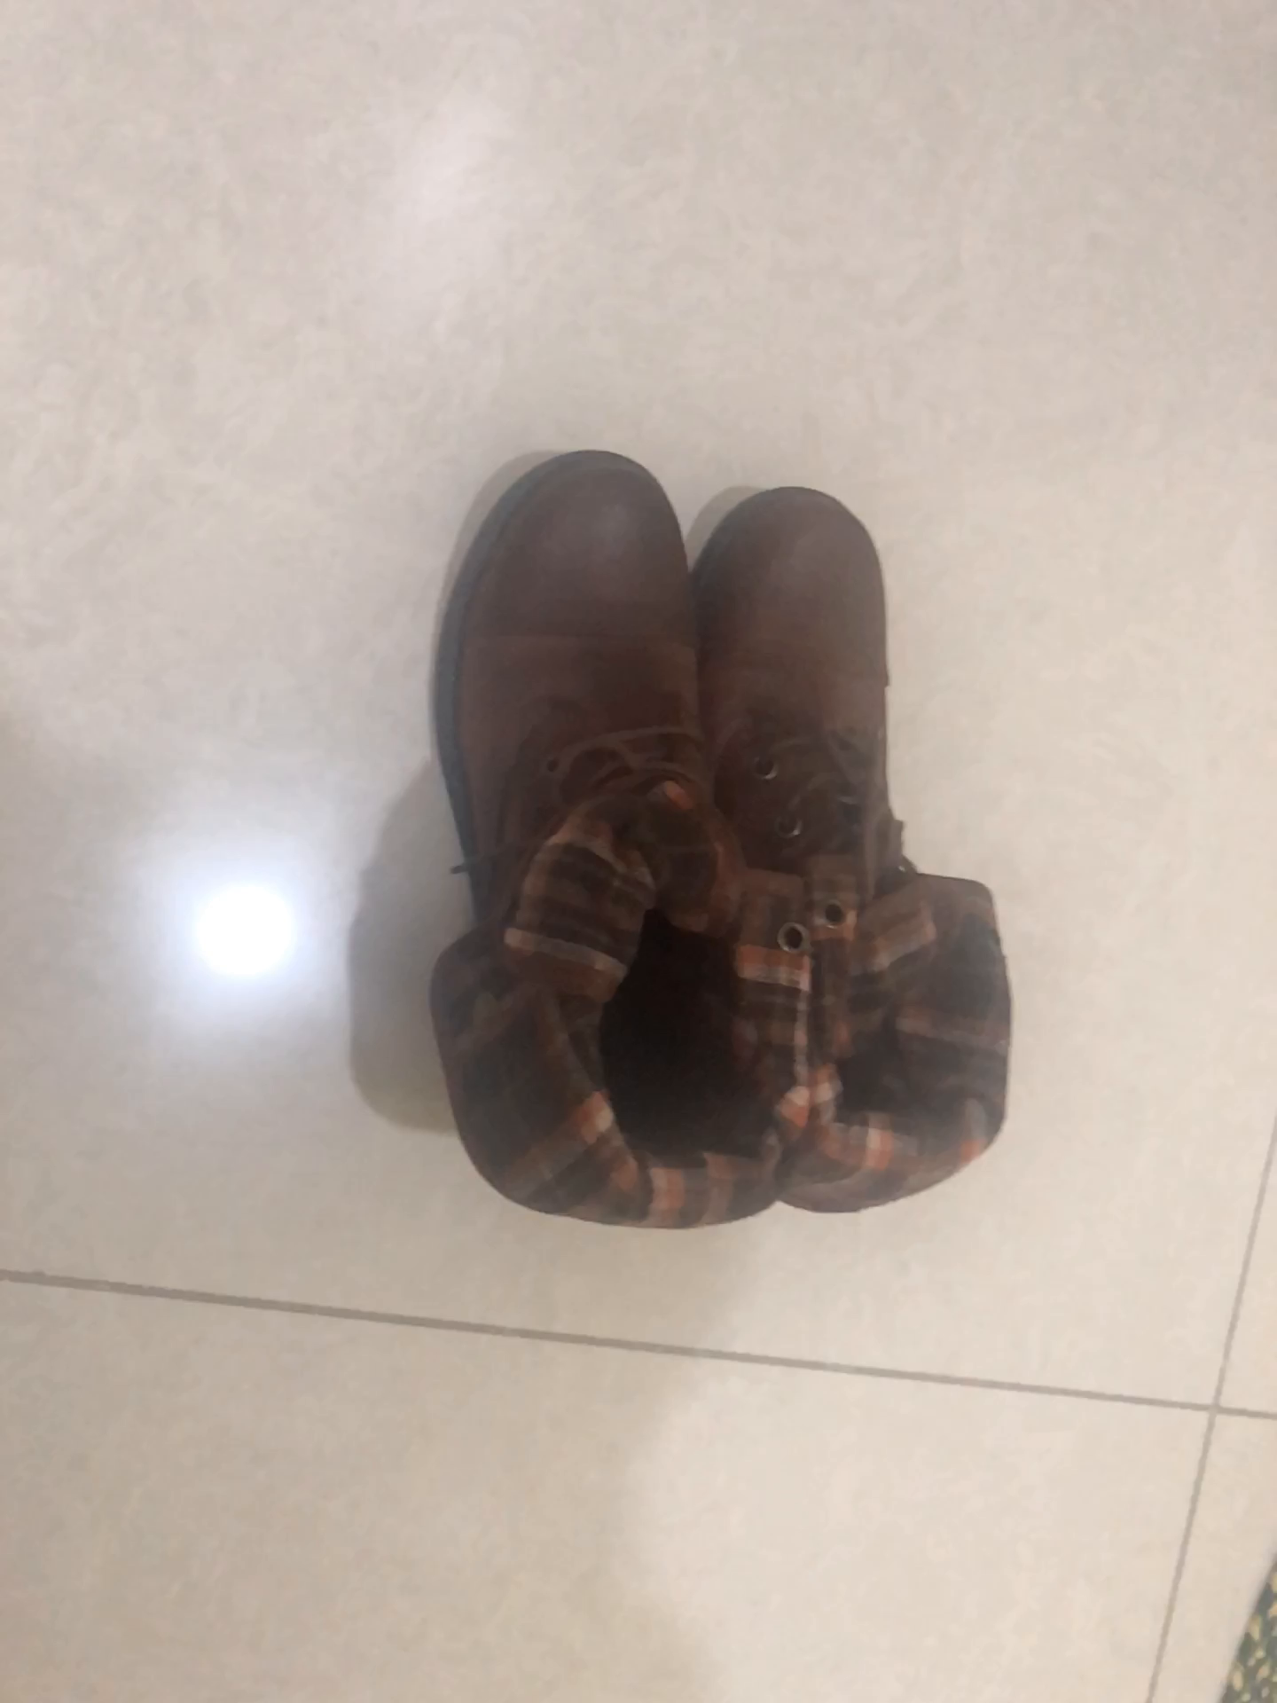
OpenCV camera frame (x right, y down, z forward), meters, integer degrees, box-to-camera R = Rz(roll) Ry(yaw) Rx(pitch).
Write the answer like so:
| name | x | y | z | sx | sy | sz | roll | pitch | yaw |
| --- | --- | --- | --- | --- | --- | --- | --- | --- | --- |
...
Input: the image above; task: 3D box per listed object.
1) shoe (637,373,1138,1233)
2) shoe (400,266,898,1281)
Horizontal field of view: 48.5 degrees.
| name | x | y | z | sx | sy | sz | roll | pitch | yaw |
| --- | --- | --- | --- | --- | --- | --- | --- | --- | --- |
| shoe | 0.086 | -0.015 | 0.530 | 0.100 | 0.140 | 0.270 | 4 | 91 | -27 |
| shoe | -0.005 | -0.023 | 0.483 | 0.110 | 0.150 | 0.280 | -1 | 93 | -27 |
